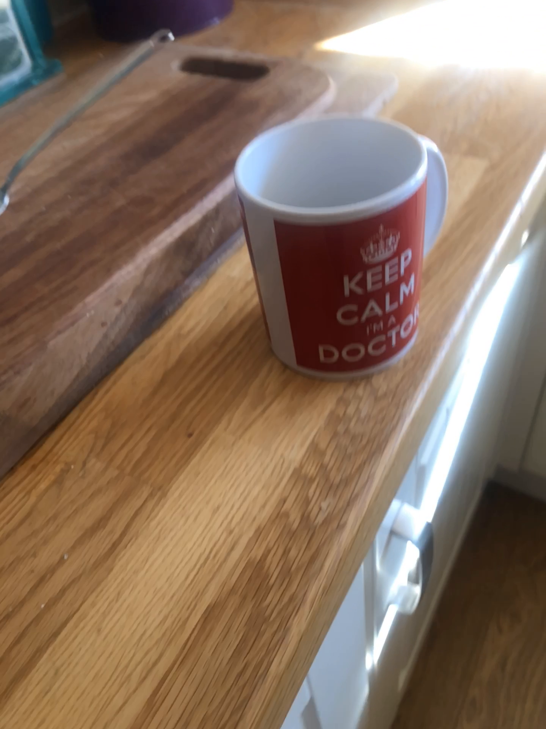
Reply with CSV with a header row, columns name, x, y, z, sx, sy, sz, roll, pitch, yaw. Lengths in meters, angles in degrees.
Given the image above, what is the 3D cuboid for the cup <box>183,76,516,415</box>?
name,x,y,z,sx,sy,sz,roll,pitch,yaw
cup,0.042,-0.064,0.299,0.089,0.094,0.124,28,57,35
